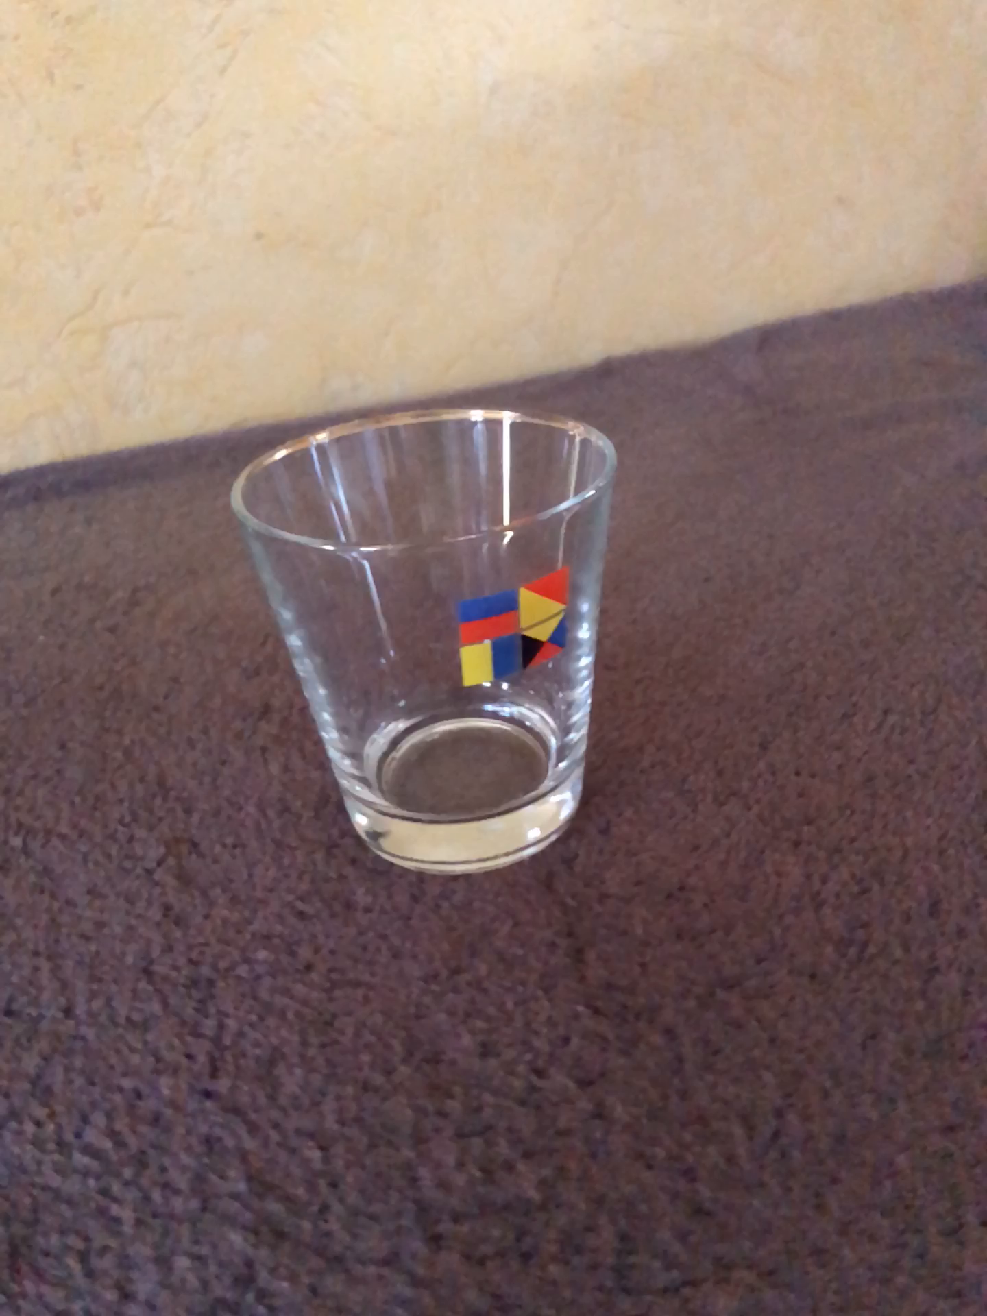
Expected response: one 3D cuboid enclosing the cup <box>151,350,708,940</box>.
[{"bbox_3d":[-0.012,-0.010,0.236,0.080,0.080,0.080,-4,30,3],"label":"cup"}]
